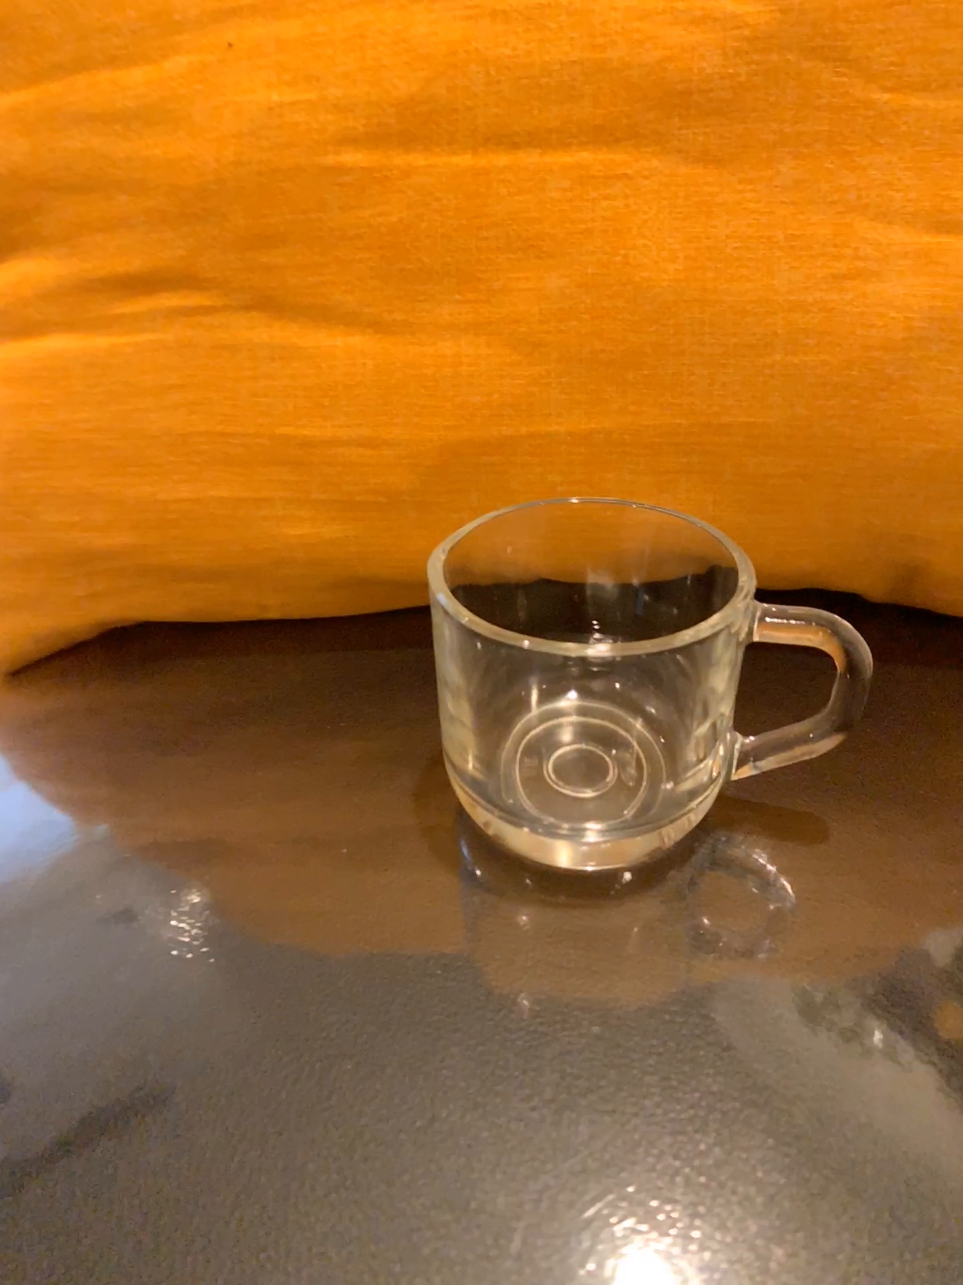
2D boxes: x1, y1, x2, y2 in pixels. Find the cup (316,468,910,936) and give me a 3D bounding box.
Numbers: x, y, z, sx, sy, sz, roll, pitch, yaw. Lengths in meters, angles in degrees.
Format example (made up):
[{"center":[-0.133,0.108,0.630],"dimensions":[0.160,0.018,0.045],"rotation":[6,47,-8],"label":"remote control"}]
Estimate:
[{"center":[0.027,0.008,0.214],"dimensions":[0.100,0.059,0.071],"rotation":[5,34,10],"label":"cup"}]
